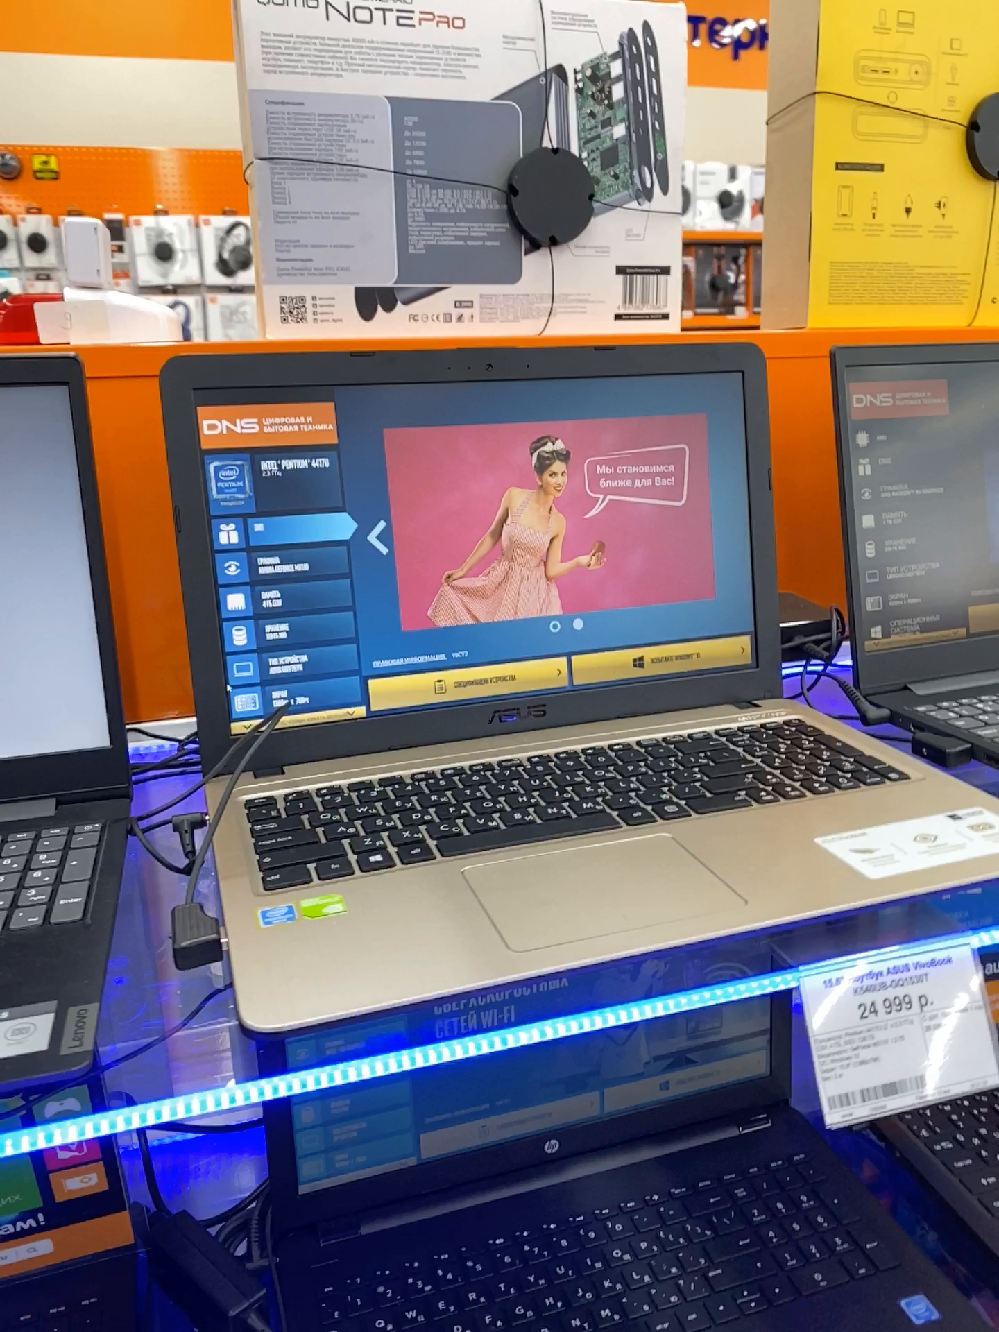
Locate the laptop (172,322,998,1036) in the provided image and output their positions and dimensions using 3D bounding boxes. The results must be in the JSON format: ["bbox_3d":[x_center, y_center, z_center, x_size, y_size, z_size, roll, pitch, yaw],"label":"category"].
[{"bbox_3d":[0.046,-0.041,0.514,0.376,0.230,0.294,-6,16,-17],"label":"laptop"}]
